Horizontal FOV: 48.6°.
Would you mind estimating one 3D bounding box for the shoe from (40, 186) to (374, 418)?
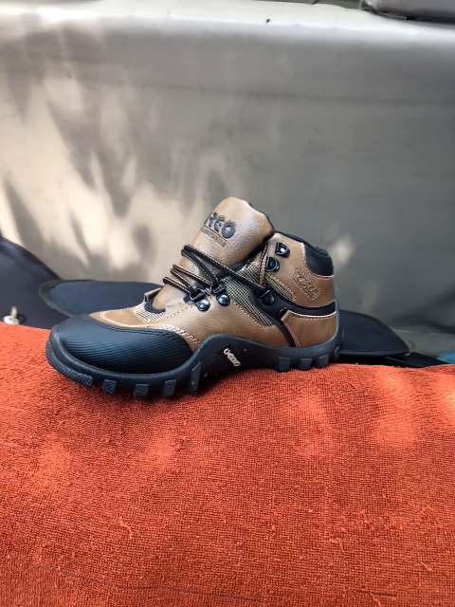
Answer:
[{"bbox_3d":[-0.014,-0.019,0.455,0.271,0.149,0.110,-6,20,-33],"label":"shoe"}]
